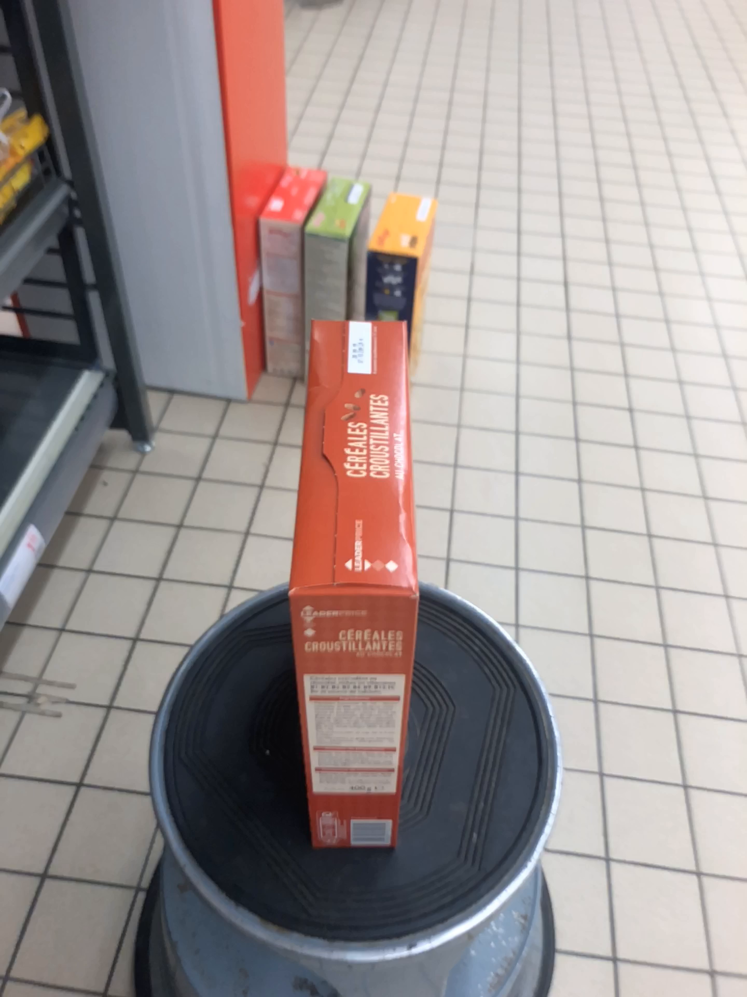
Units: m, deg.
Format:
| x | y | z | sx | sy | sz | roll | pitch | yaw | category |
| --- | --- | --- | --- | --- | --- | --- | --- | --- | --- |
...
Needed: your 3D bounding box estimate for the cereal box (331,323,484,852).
| x | y | z | sx | sy | sz | roll | pitch | yaw | category |
| --- | --- | --- | --- | --- | --- | --- | --- | --- | --- |
| 0.008 | 0.061 | 0.488 | 0.060 | 0.258 | 0.191 | 1 | 46 | -2 | cereal box |
